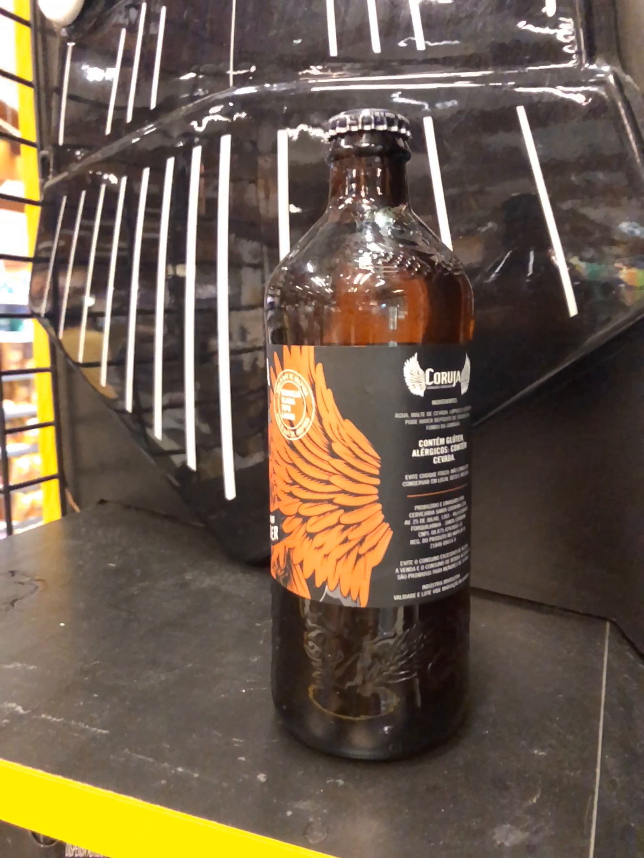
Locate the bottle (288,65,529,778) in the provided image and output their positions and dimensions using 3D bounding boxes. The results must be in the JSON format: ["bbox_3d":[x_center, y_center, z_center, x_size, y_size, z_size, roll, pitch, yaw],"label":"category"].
[{"bbox_3d":[0.024,-0.001,0.255,0.070,0.219,0.070,0,7,0],"label":"bottle"}]
